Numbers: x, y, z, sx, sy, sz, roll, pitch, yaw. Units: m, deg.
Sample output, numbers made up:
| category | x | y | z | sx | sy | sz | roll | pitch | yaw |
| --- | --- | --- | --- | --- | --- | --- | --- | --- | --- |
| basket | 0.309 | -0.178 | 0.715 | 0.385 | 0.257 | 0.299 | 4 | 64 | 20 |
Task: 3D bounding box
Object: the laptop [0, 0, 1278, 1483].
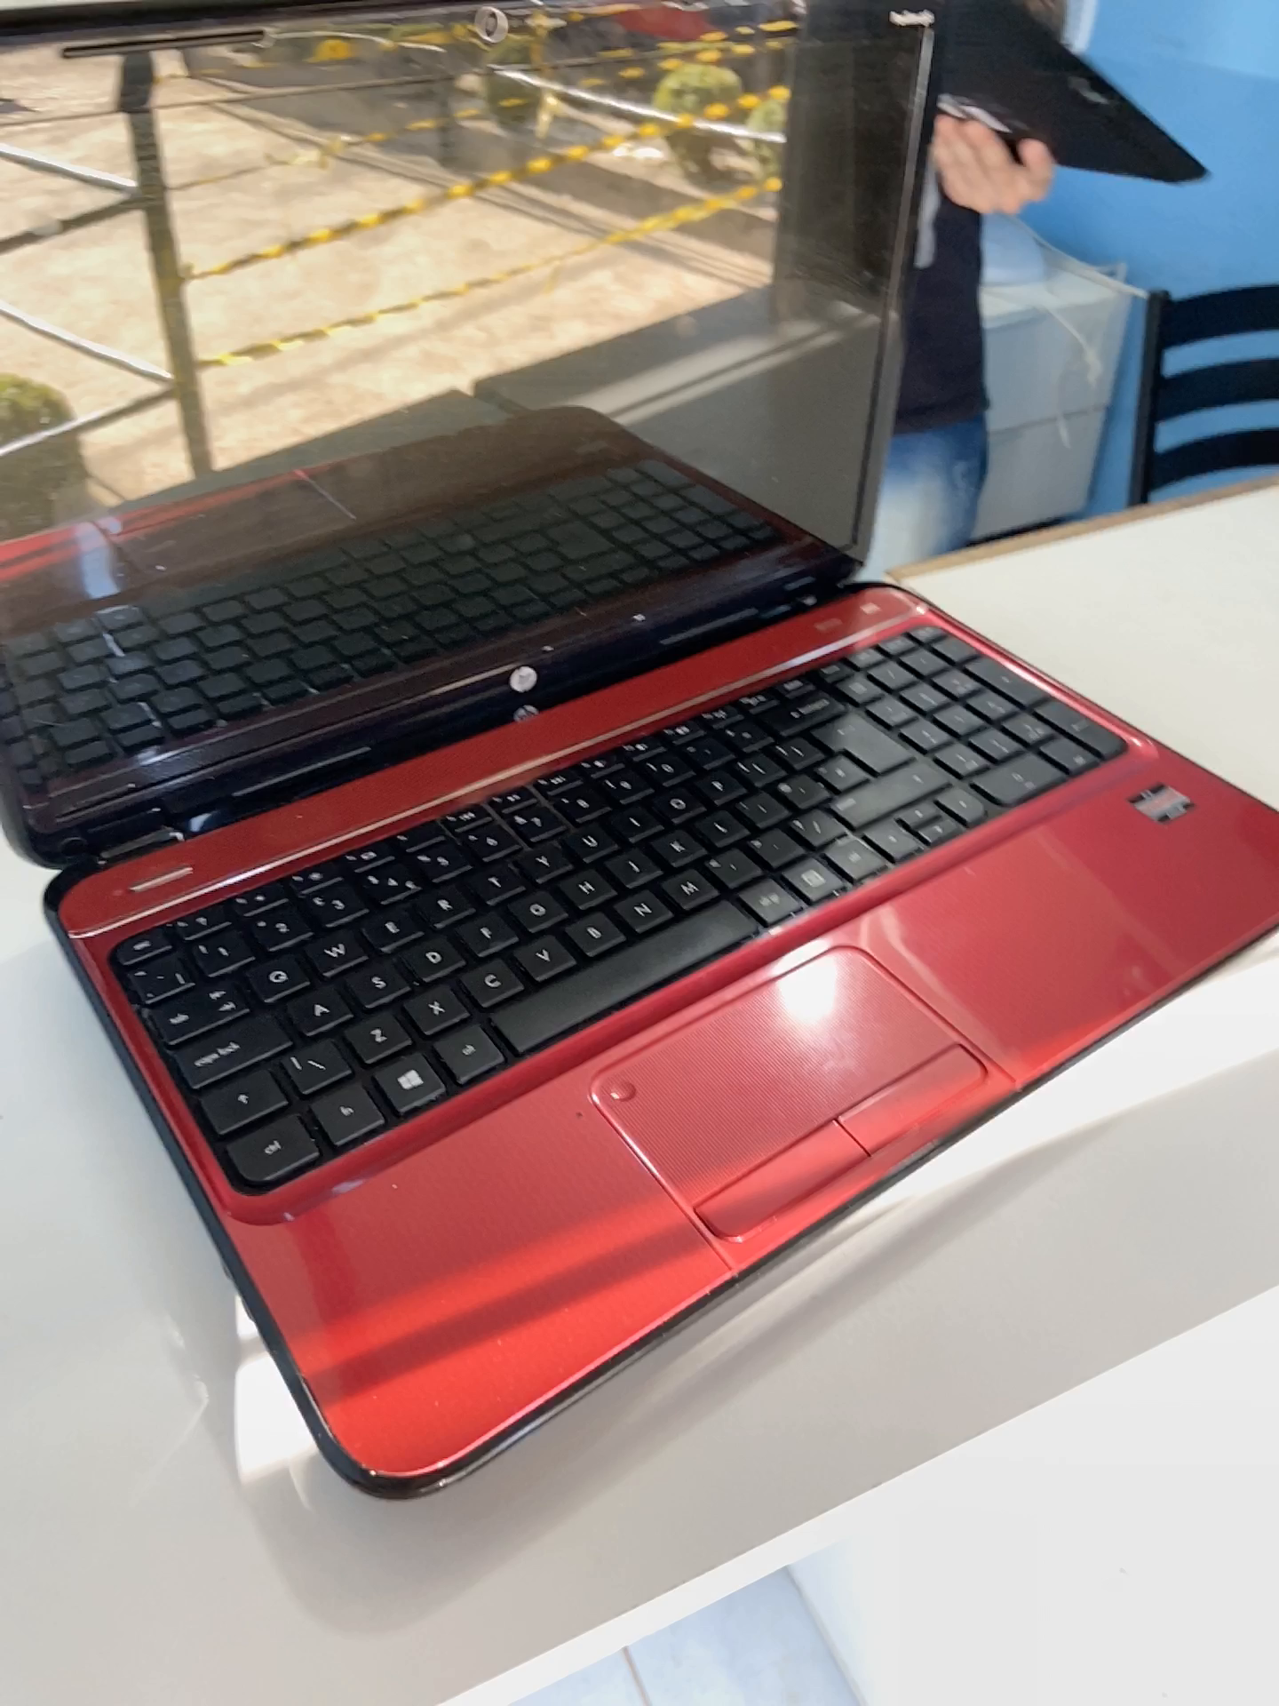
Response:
| category | x | y | z | sx | sy | sz | roll | pitch | yaw |
| --- | --- | --- | --- | --- | --- | --- | --- | --- | --- |
| laptop | 0.024 | -0.080 | 0.353 | 0.357 | 0.221 | 0.228 | -24 | 45 | -26 |
